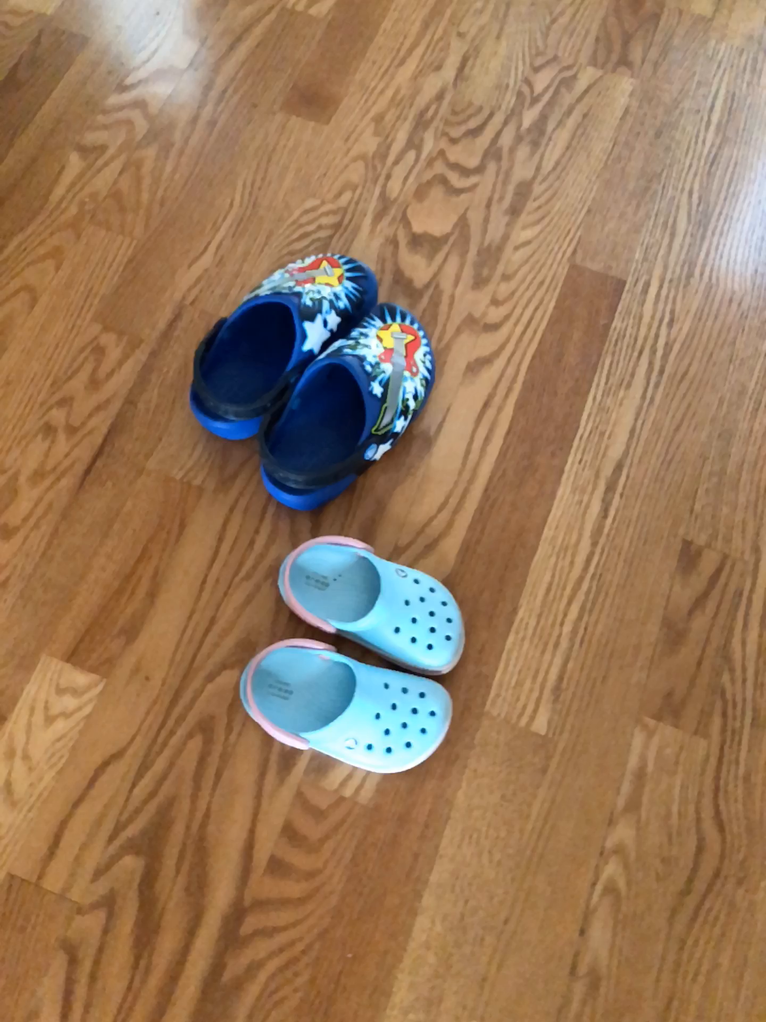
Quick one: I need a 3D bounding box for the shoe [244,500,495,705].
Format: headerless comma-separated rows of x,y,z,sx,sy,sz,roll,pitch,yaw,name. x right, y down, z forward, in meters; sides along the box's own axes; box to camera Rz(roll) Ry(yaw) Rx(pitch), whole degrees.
-0.010,0.072,0.667,0.170,0.050,0.090,23,68,9,shoe

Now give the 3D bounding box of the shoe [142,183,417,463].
-0.085,-0.170,0.750,0.110,0.070,0.230,36,71,13,shoe

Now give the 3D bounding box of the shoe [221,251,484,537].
-0.022,-0.104,0.728,0.110,0.070,0.220,32,70,12,shoe

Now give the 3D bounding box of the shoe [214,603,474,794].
-0.027,0.141,0.636,0.170,0.050,0.090,15,67,6,shoe
